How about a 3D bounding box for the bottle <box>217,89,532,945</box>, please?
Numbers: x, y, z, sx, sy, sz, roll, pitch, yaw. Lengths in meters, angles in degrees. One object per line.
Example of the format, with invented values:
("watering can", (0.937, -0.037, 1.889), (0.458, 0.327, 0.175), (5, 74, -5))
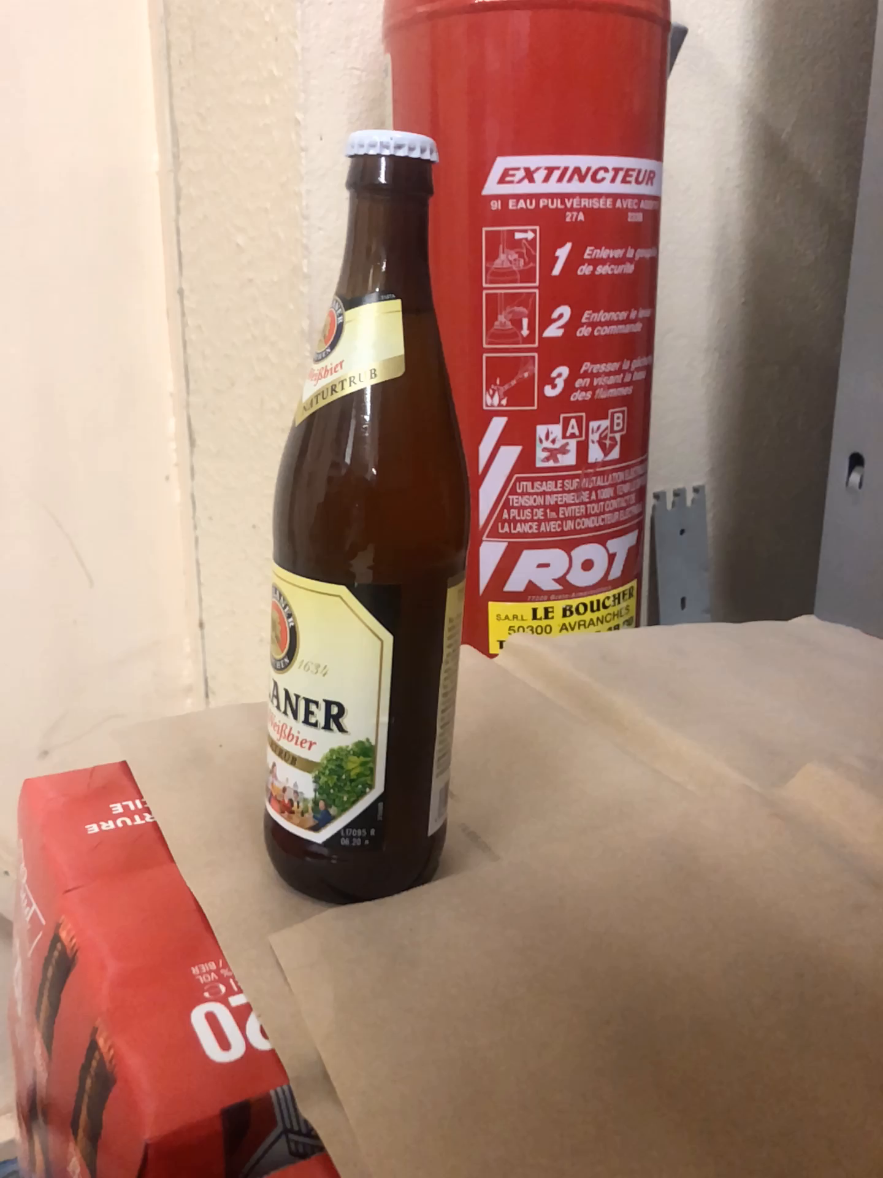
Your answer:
("bottle", (-0.026, -0.018, 0.314), (0.080, 0.239, 0.080), (1, 15, 0))
